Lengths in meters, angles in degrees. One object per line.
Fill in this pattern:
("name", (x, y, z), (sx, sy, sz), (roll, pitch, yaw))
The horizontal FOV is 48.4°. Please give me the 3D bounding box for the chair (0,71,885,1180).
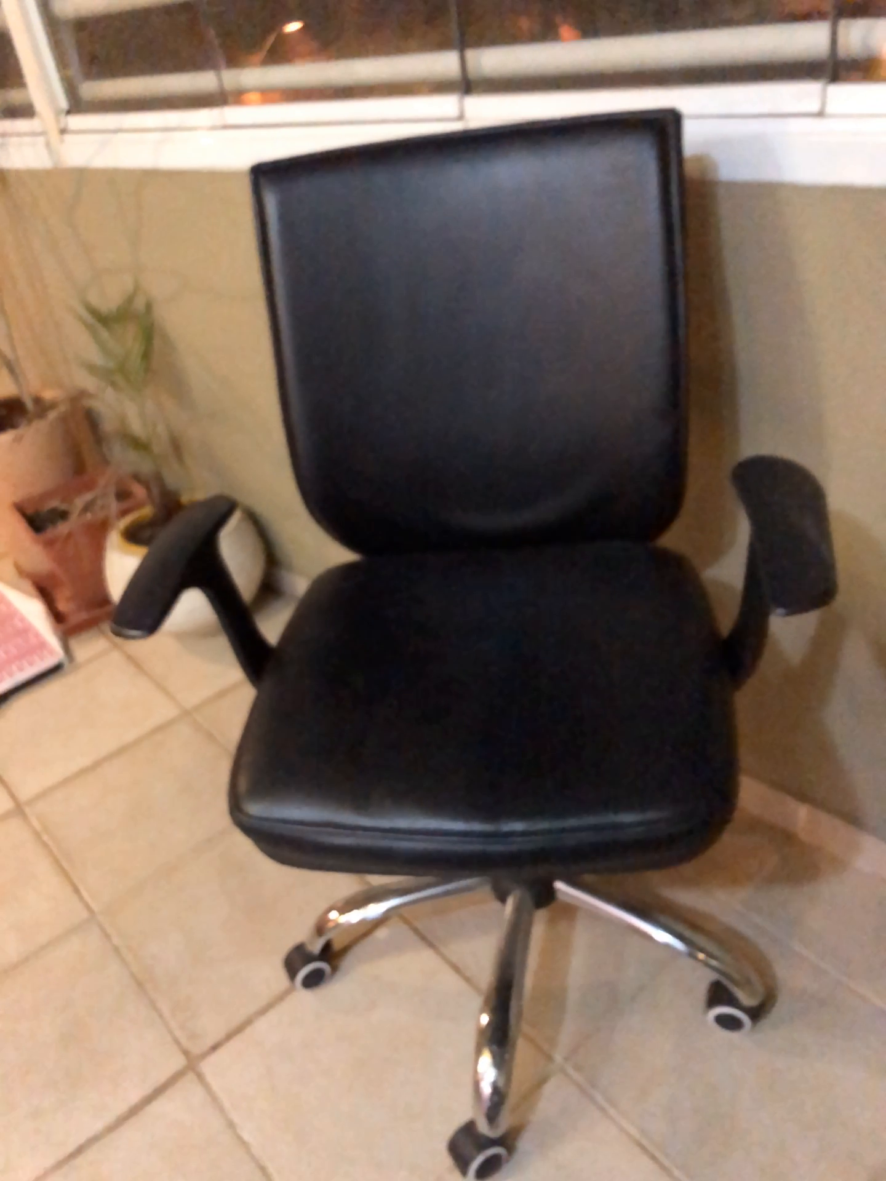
("chair", (0.040, 0.055, 1.051), (0.660, 0.933, 0.665), (-2, 33, 12))
